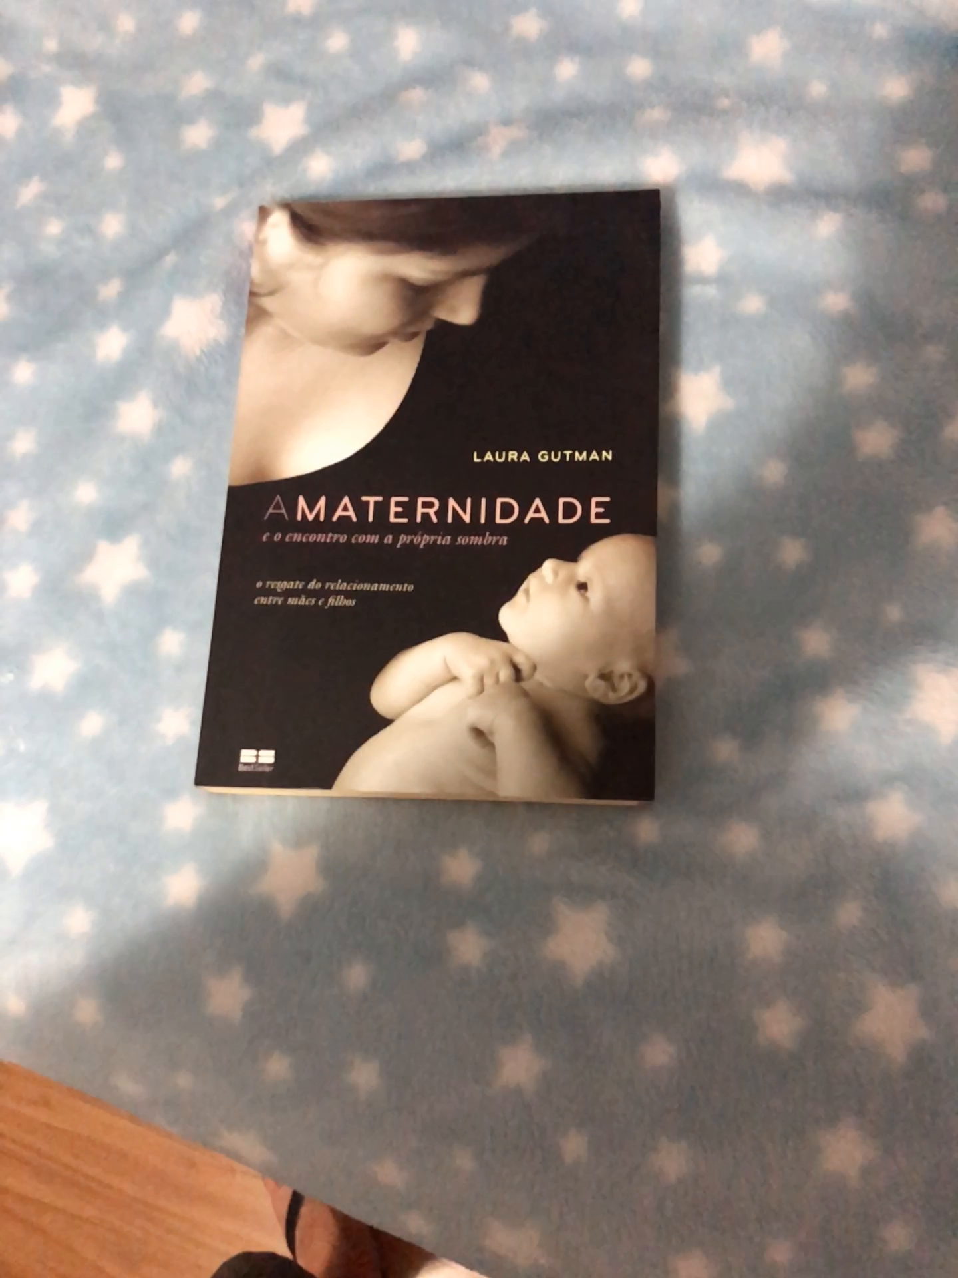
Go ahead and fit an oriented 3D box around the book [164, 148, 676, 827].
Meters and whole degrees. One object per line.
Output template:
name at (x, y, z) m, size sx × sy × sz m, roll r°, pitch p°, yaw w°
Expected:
book at (-0.013, -0.060, 0.377) m, size 0.160 × 0.030 × 0.240 m, roll 1°, pitch 75°, yaw 7°
